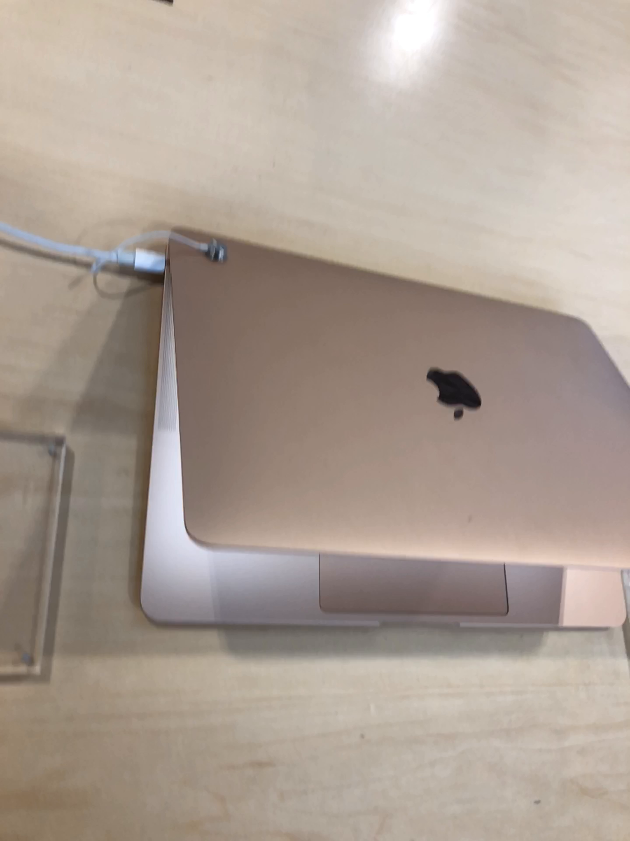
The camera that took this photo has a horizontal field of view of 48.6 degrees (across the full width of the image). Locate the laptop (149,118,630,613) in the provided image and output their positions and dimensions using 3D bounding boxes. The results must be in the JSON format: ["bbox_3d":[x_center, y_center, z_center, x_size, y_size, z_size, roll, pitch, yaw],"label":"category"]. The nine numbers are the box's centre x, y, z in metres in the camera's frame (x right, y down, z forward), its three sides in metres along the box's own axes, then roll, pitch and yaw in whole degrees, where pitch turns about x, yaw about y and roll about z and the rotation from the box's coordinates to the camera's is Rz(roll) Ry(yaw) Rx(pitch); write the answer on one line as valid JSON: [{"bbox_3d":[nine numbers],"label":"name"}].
[{"bbox_3d":[0.077,-0.008,0.363,0.289,0.093,0.203,7,68,-22],"label":"laptop"}]
